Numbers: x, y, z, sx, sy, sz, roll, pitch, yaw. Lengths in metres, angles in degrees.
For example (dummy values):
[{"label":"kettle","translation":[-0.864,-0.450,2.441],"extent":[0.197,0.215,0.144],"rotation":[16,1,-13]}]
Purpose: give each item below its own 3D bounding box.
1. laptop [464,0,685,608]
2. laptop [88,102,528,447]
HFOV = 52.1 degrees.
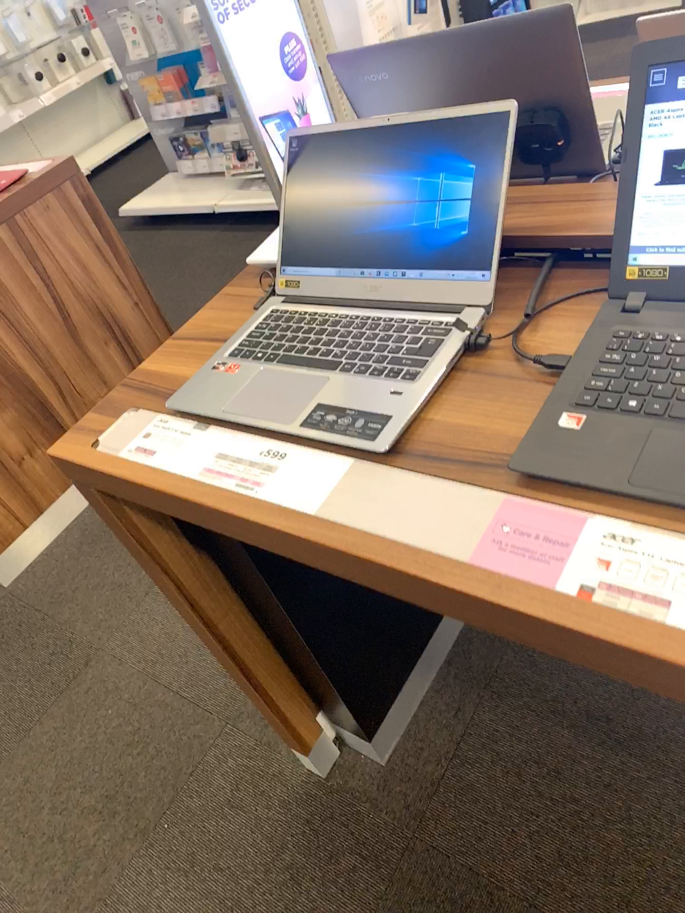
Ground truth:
[{"label":"laptop","translation":[0.342,-0.148,0.497],"extent":[0.372,0.191,0.358],"rotation":[10,51,33]},{"label":"laptop","translation":[-0.023,-0.214,0.774],"extent":[0.308,0.153,0.360],"rotation":[12,52,36]}]
